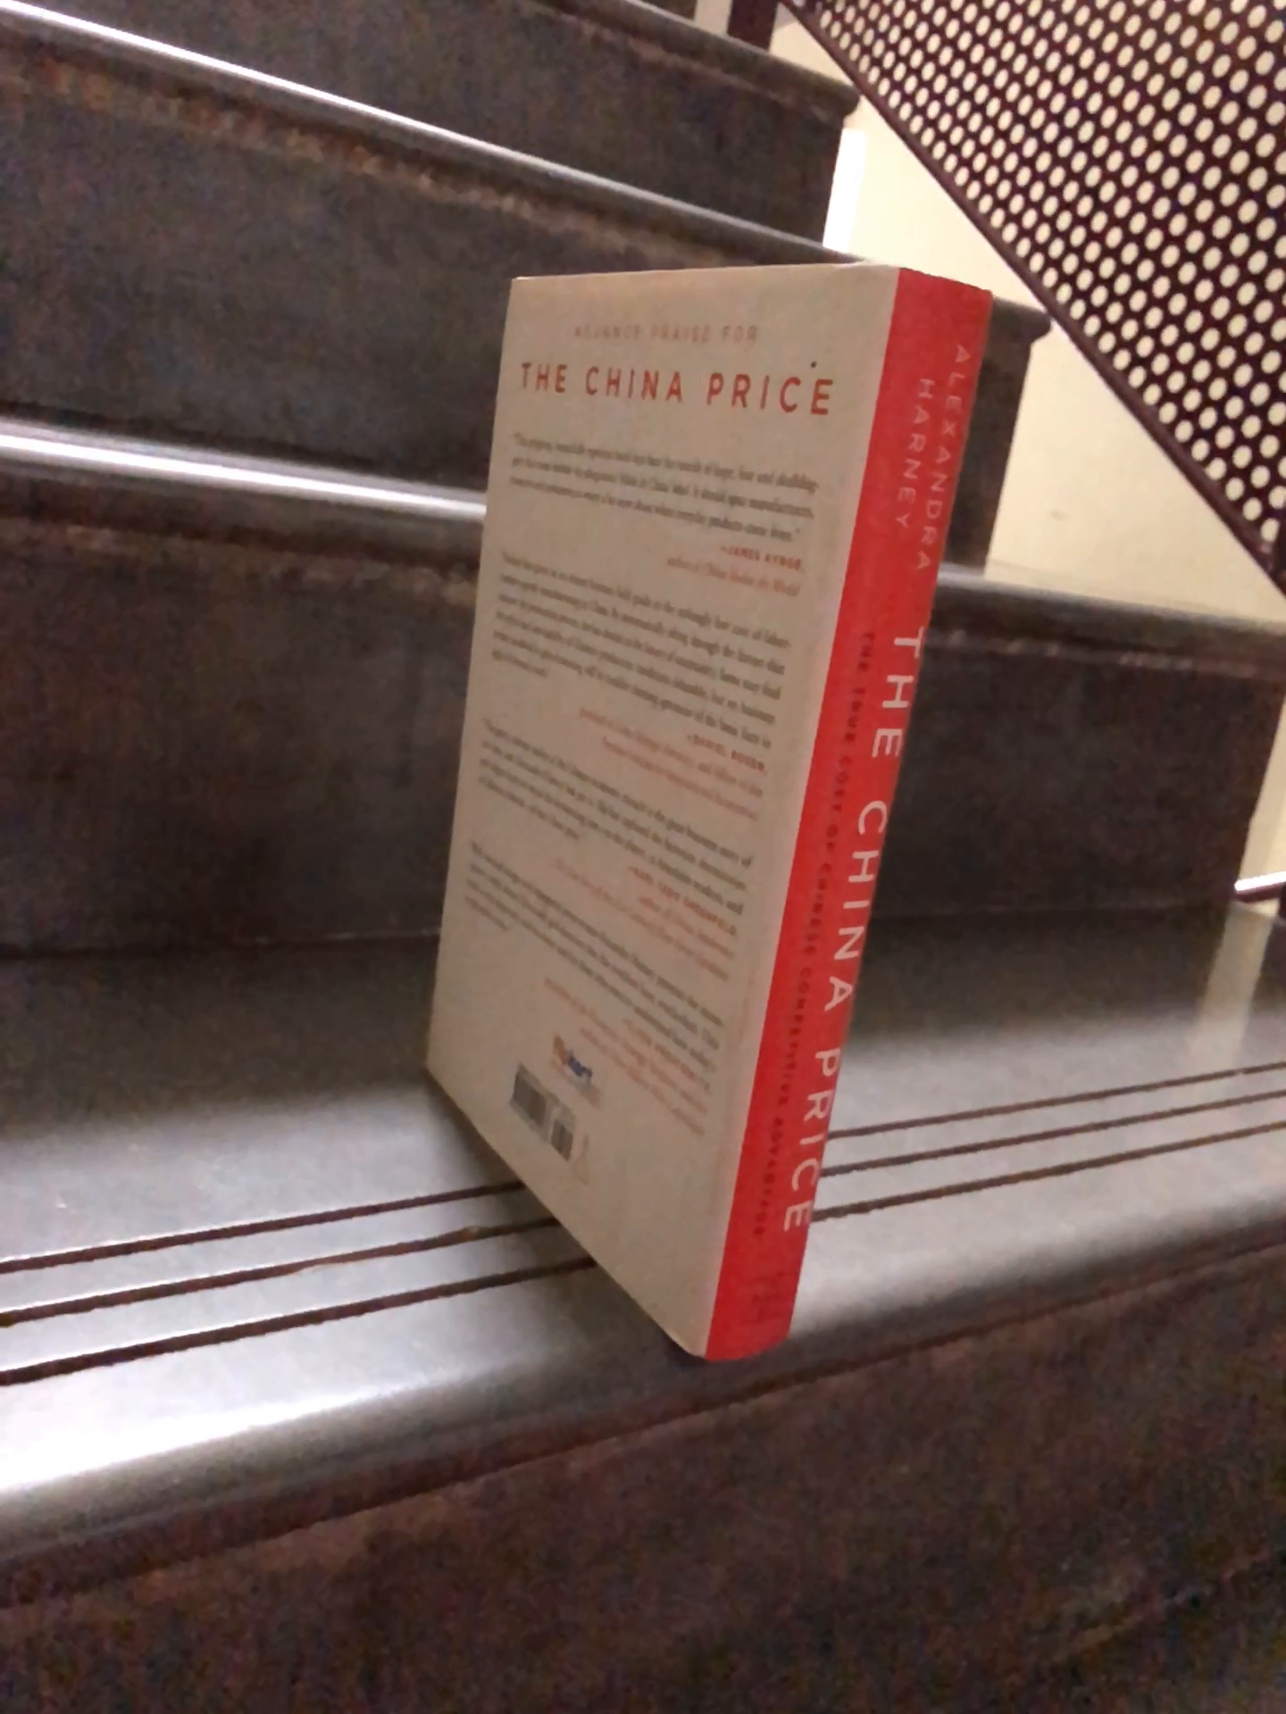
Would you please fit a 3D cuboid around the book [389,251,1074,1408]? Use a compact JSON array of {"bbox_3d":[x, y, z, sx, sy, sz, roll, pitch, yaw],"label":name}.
[{"bbox_3d":[0.000,-0.022,0.366,0.040,0.239,0.180,-1,19,-33],"label":"book"}]
